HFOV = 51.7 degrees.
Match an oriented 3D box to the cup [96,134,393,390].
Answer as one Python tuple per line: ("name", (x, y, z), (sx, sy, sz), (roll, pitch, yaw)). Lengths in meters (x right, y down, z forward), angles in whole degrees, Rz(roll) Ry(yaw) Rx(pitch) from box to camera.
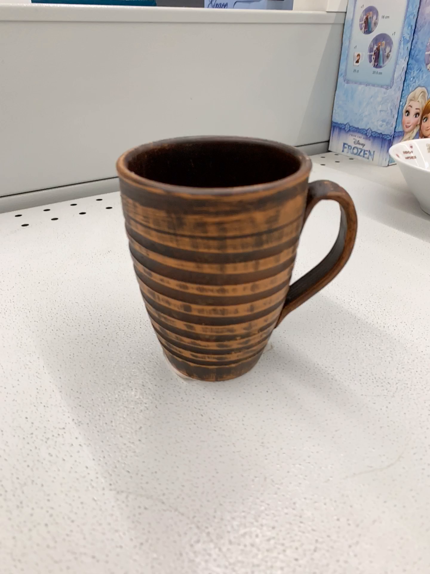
("cup", (0.007, -0.017, 0.214), (0.105, 0.089, 0.084), (-3, 32, -6))
